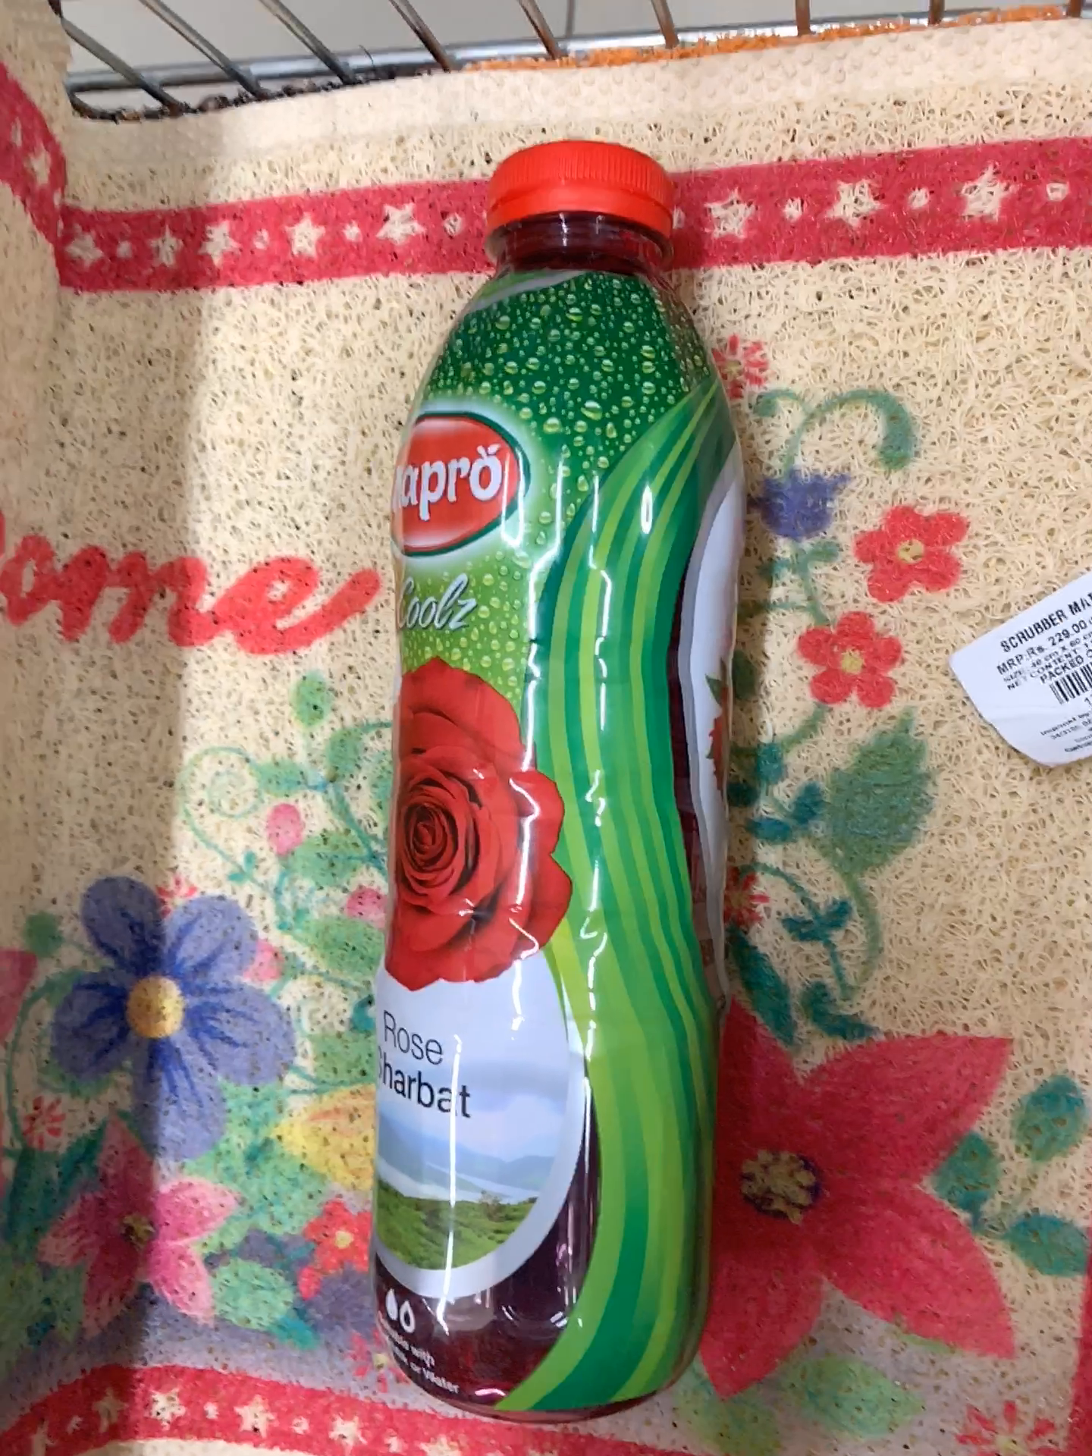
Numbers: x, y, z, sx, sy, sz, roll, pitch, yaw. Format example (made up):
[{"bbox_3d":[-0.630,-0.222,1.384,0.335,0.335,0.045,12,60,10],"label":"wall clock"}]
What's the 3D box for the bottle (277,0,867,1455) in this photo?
[{"bbox_3d":[0.003,0.000,0.229,0.080,0.080,0.250,6,96,41],"label":"bottle"}]
